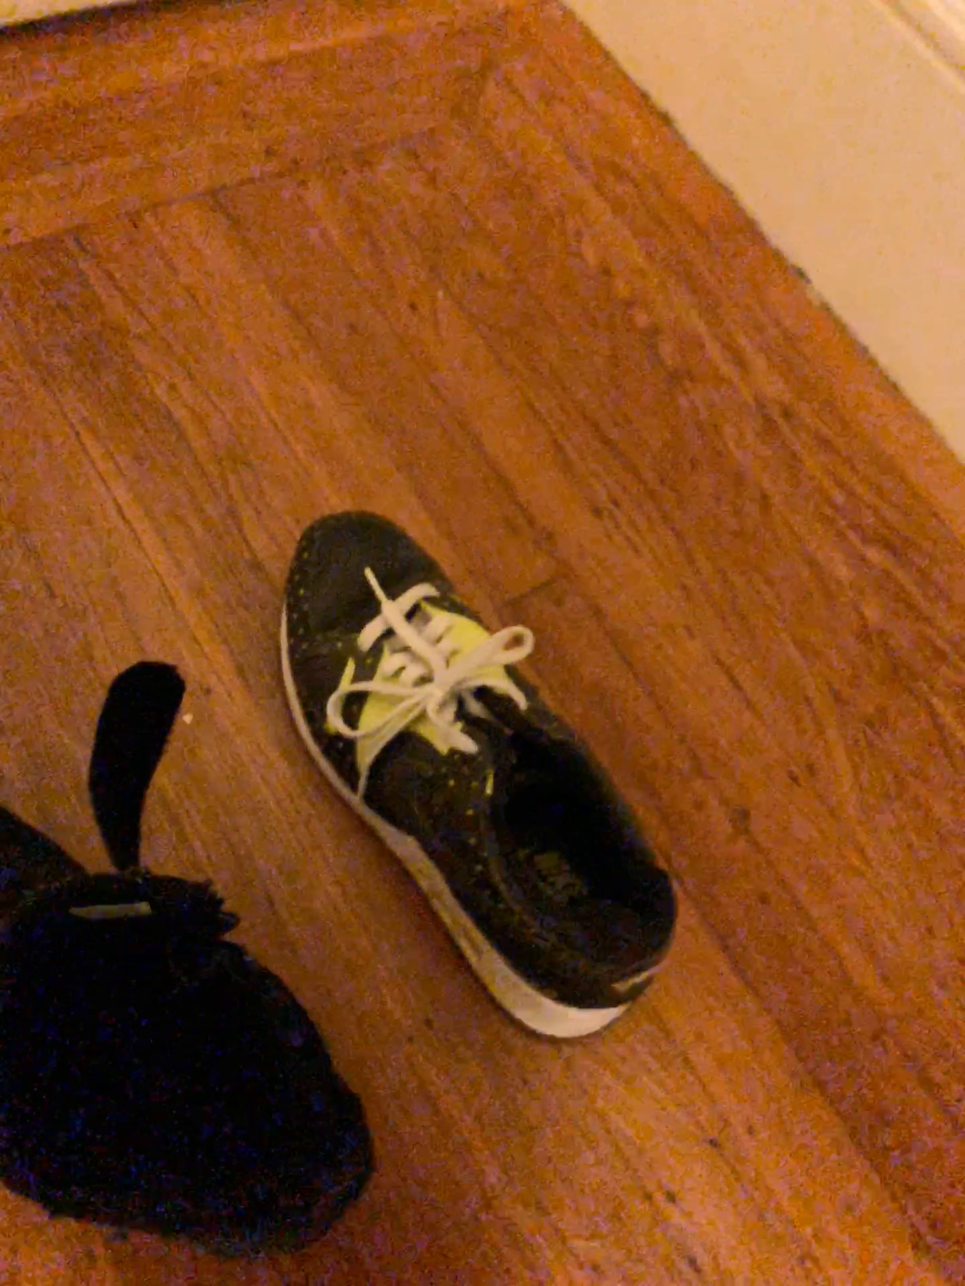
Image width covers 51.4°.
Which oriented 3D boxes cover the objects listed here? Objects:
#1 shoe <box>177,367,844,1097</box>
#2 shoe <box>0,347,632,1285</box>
[{"bbox_3d":[-0.001,0.035,0.446,0.120,0.100,0.290,-32,76,-24],"label":"shoe"},{"bbox_3d":[-0.153,0.103,0.363,0.310,0.239,0.160,34,63,4],"label":"shoe"}]
